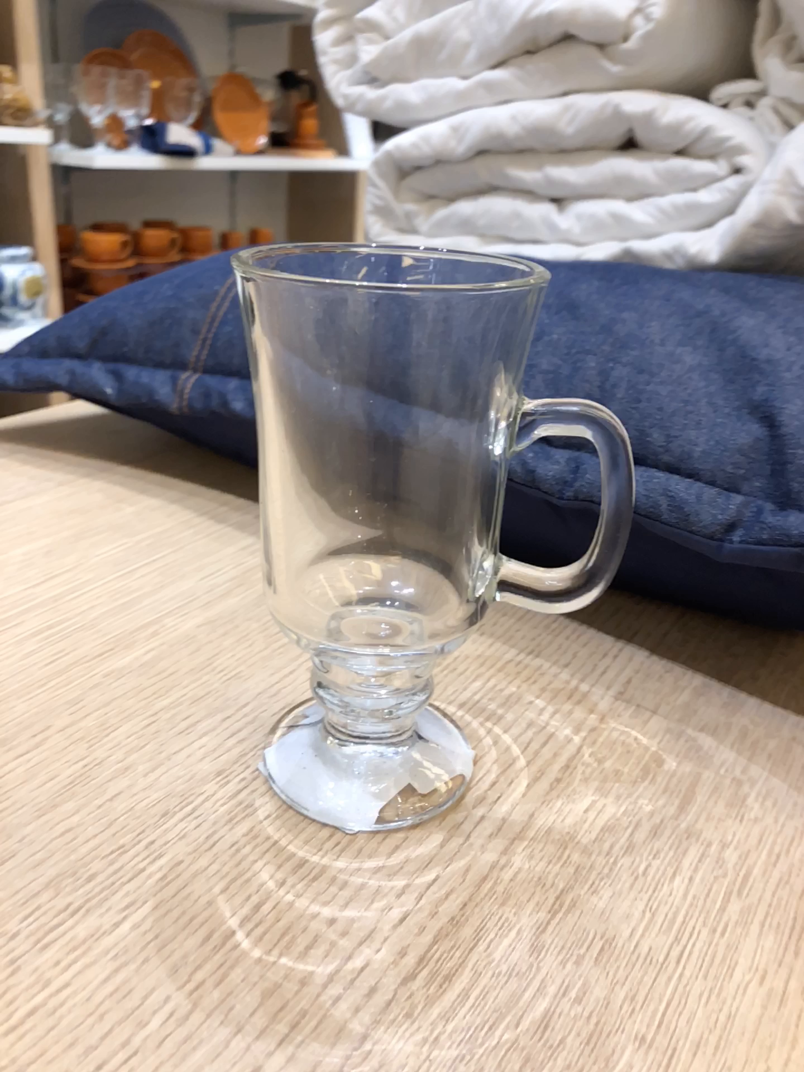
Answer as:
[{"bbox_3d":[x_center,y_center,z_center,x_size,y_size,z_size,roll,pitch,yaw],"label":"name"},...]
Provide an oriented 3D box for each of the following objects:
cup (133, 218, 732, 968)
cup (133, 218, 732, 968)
[{"bbox_3d":[0.008,0.002,0.236,0.110,0.149,0.091,15,26,24],"label":"cup"},{"bbox_3d":[0.008,0.002,0.236,0.110,0.149,0.091,15,26,24],"label":"cup"}]
